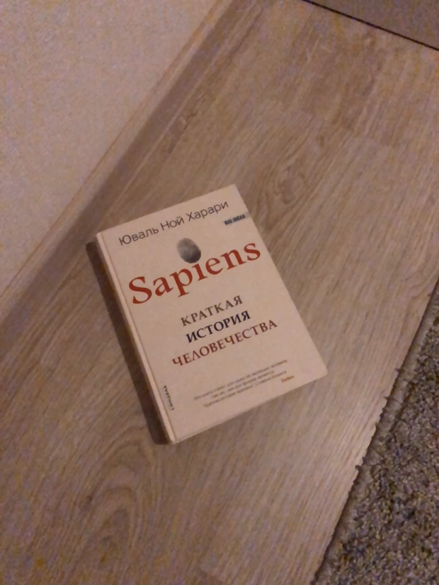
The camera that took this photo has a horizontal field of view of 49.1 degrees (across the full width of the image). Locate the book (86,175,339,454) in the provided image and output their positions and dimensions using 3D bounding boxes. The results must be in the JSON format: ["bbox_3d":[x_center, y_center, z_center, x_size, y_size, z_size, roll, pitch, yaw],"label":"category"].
[{"bbox_3d":[-0.016,0.013,0.530,0.187,0.040,0.258,-21,70,-7],"label":"book"}]
